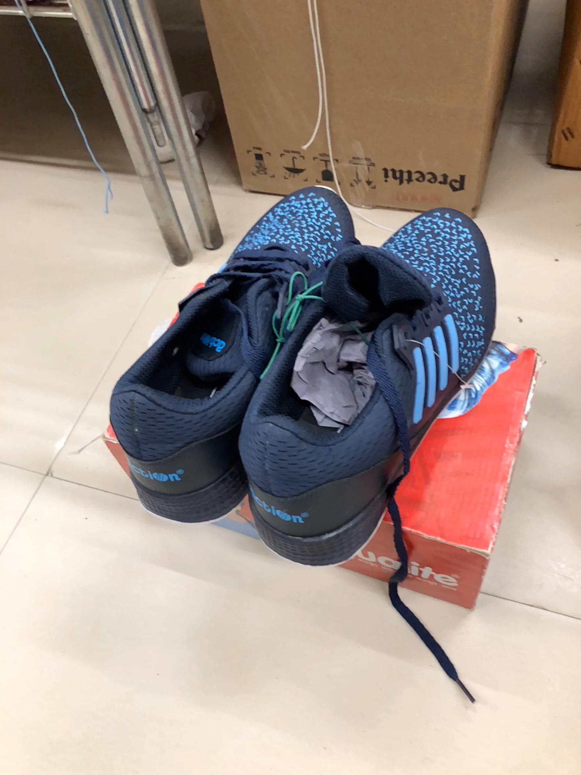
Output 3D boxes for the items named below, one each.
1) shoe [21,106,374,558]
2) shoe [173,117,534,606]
[{"bbox_3d":[-0.033,-0.047,0.428,0.101,0.133,0.264,13,58,18],"label":"shoe"},{"bbox_3d":[0.055,-0.025,0.398,0.093,0.132,0.264,19,60,21],"label":"shoe"}]
